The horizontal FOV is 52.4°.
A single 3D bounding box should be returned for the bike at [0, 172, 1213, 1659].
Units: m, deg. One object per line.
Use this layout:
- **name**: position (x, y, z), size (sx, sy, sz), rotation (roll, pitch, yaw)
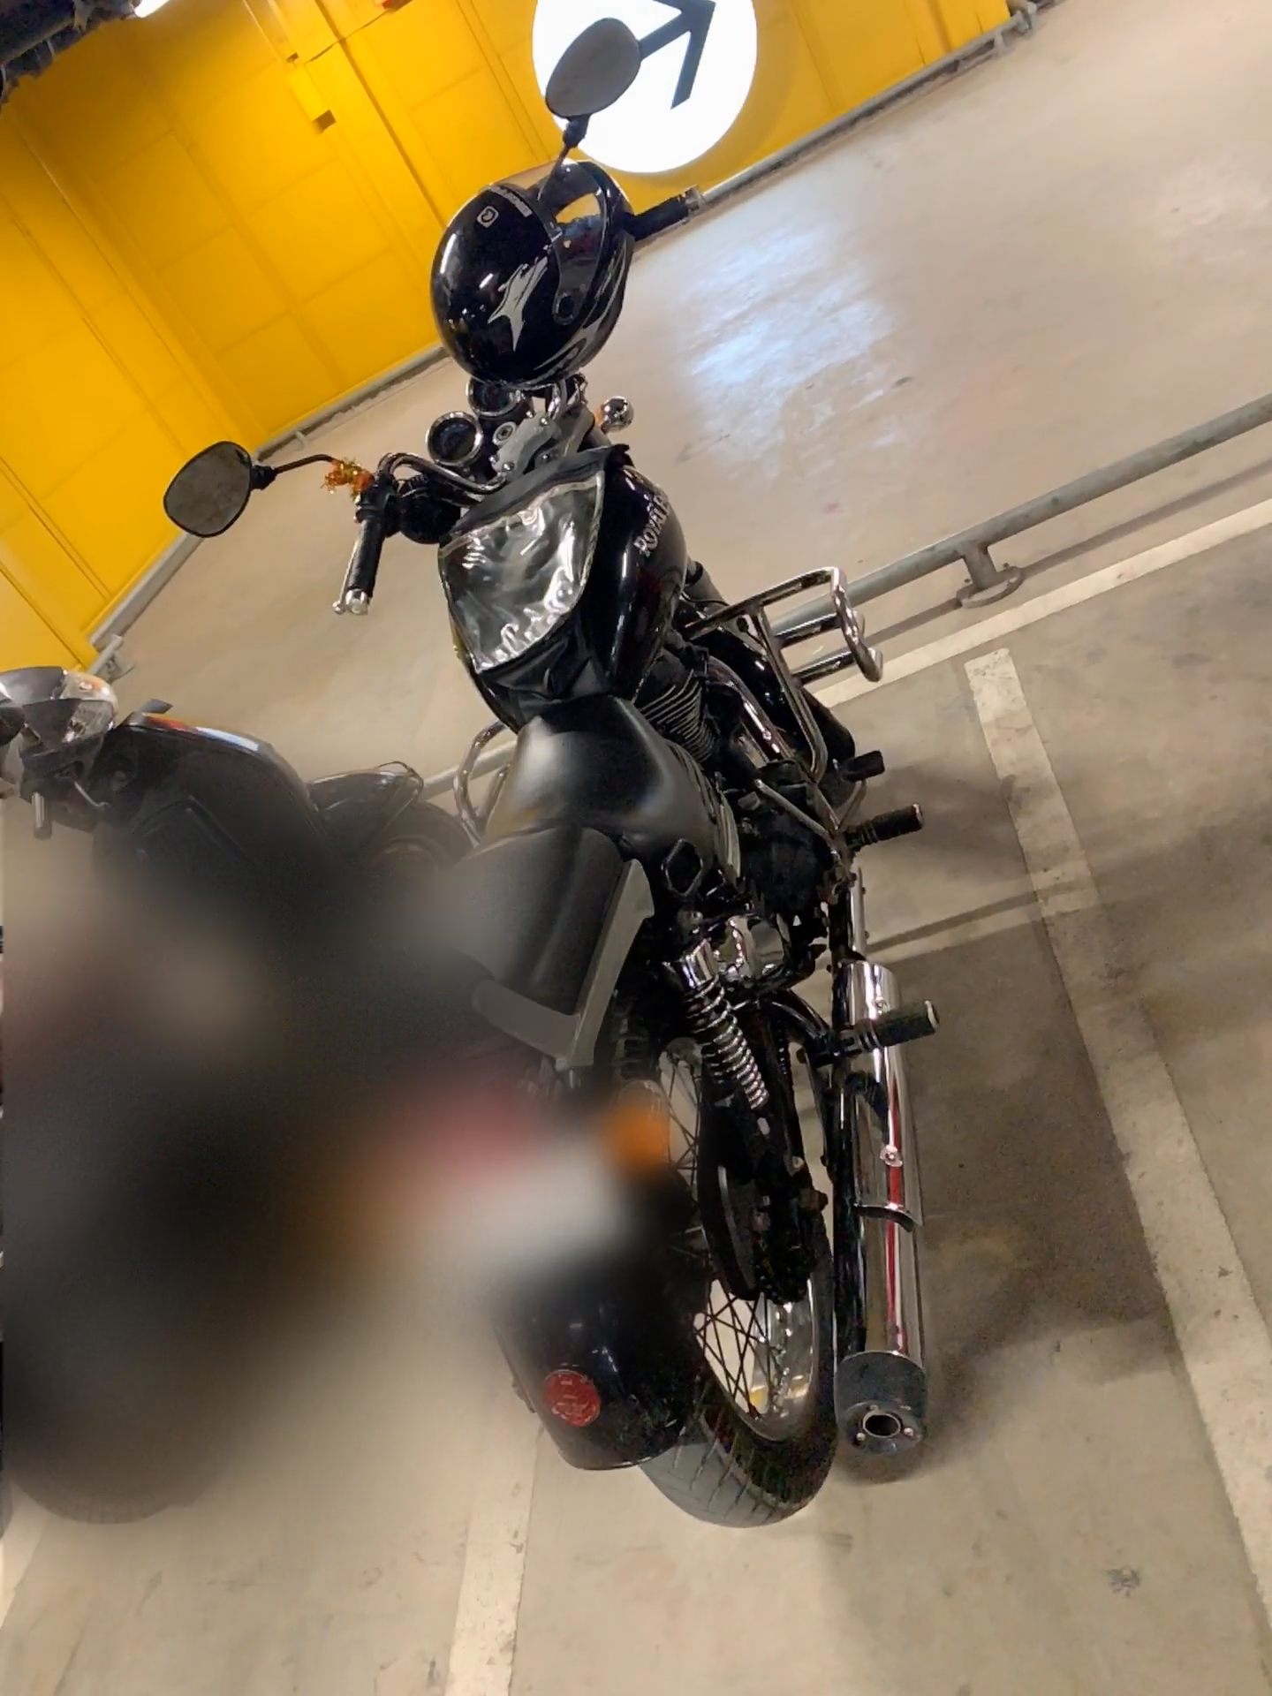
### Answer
- **bike**: position (-0.051, -0.151, 2.067), size (0.829, 1.228, 2.086), rotation (-24, 30, 15)
